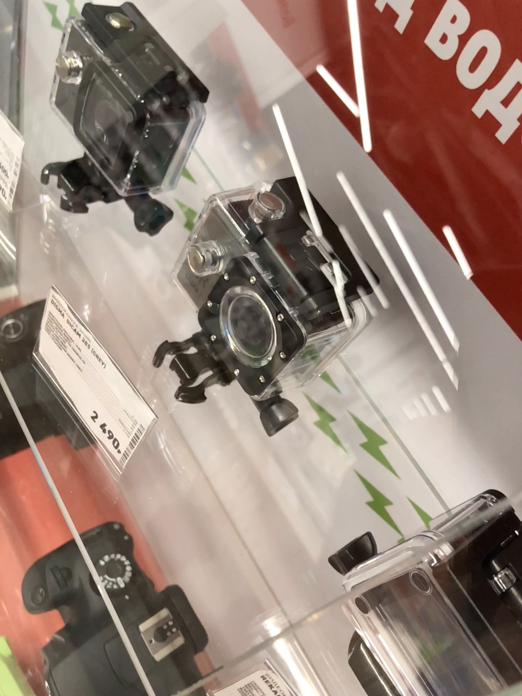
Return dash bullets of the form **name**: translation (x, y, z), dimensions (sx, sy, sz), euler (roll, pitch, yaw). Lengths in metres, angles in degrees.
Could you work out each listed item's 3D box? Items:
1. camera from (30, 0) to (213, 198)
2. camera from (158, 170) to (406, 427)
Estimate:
- **camera**: translation (-0.063, -0.110, 0.256), dimensions (0.036, 0.045, 0.072), euler (-24, 70, -42)
- **camera**: translation (0.005, -0.021, 0.236), dimensions (0.048, 0.055, 0.077), euler (-21, 68, -37)
